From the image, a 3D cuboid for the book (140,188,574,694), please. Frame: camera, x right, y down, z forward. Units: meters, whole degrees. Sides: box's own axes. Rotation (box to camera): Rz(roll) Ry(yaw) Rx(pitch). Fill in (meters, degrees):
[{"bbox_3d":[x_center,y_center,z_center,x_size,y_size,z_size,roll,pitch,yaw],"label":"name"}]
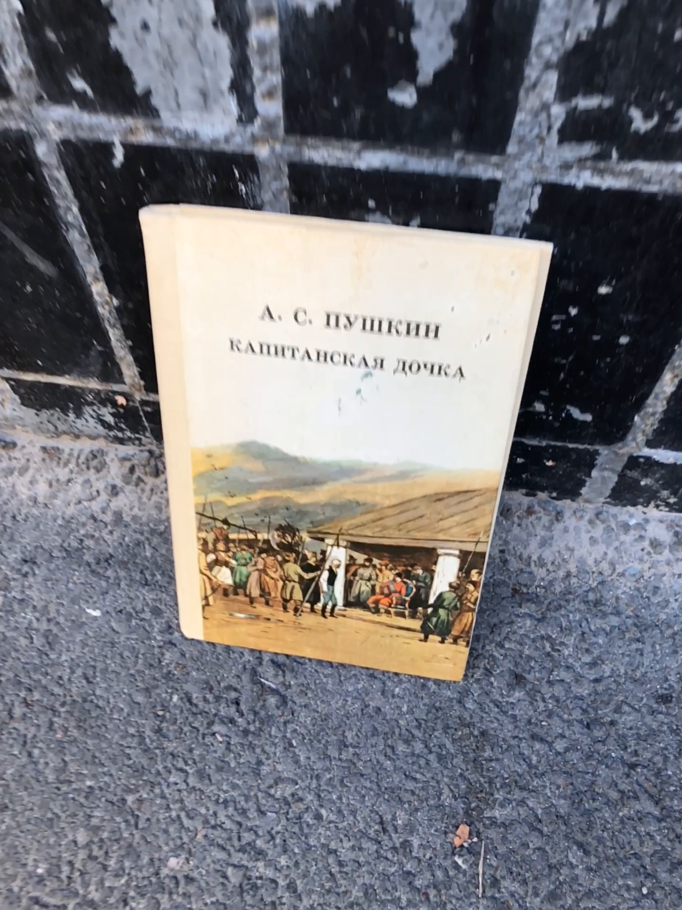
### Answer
[{"bbox_3d":[-0.002,0.009,0.318,0.145,0.215,0.023,8,34,5],"label":"book"}]
